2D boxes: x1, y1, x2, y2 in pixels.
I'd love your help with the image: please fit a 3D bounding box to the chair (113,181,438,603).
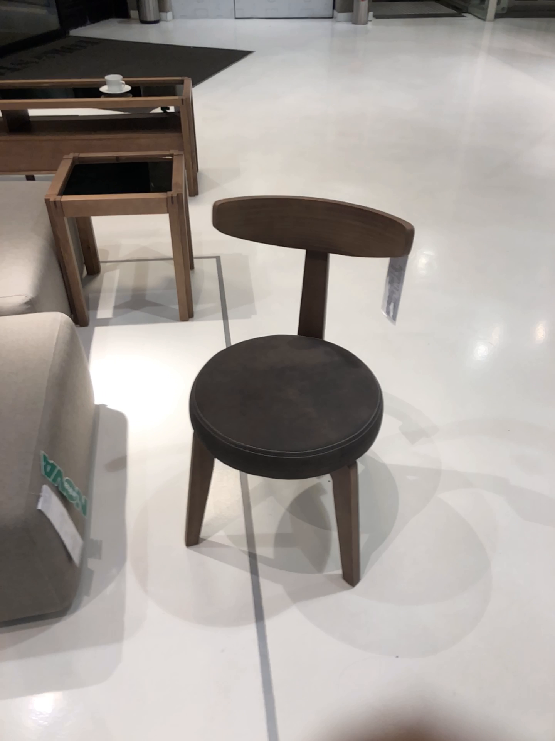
[{"bbox_3d":[0.035,0.037,1.377,0.500,0.705,0.524,10,39,12],"label":"chair"}]
